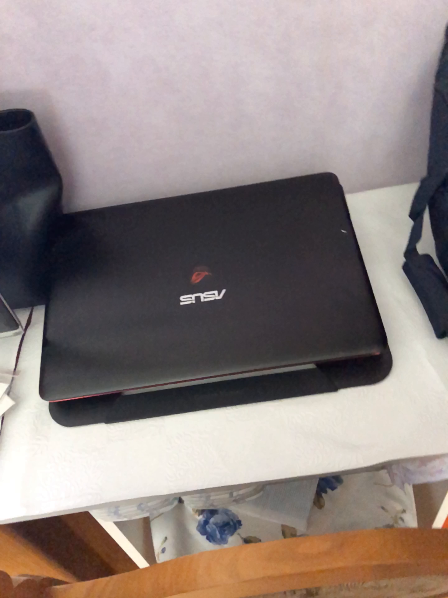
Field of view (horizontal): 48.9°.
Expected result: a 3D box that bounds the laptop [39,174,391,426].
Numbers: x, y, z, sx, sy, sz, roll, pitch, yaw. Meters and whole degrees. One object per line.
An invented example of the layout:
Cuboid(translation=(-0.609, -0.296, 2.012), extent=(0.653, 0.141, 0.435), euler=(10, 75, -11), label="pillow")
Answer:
Cuboid(translation=(-0.028, -0.008, 0.635), extent=(0.394, 0.060, 0.267), euler=(-9, 58, 3), label="laptop")
